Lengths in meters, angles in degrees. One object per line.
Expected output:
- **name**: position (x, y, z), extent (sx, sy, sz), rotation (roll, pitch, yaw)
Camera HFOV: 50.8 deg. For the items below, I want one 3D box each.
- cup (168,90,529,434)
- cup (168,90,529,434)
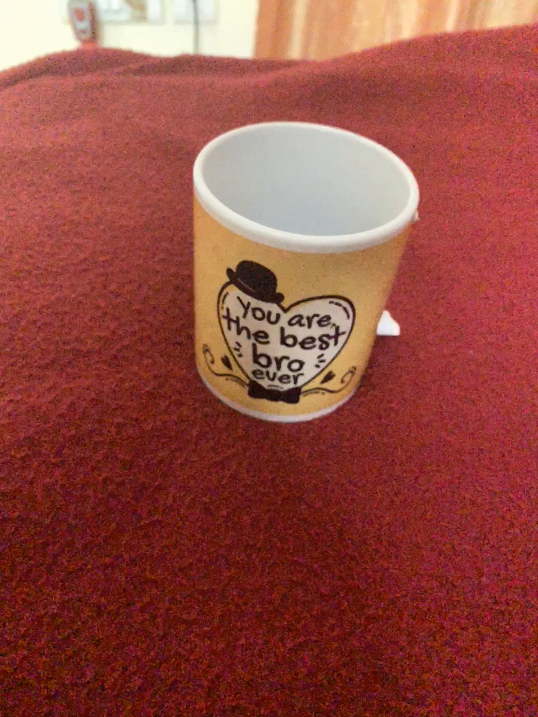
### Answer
- **cup**: position (0.021, -0.038, 0.238), extent (0.110, 0.109, 0.081), rotation (4, 43, -2)
- **cup**: position (0.021, -0.038, 0.238), extent (0.110, 0.109, 0.081), rotation (4, 43, -2)
